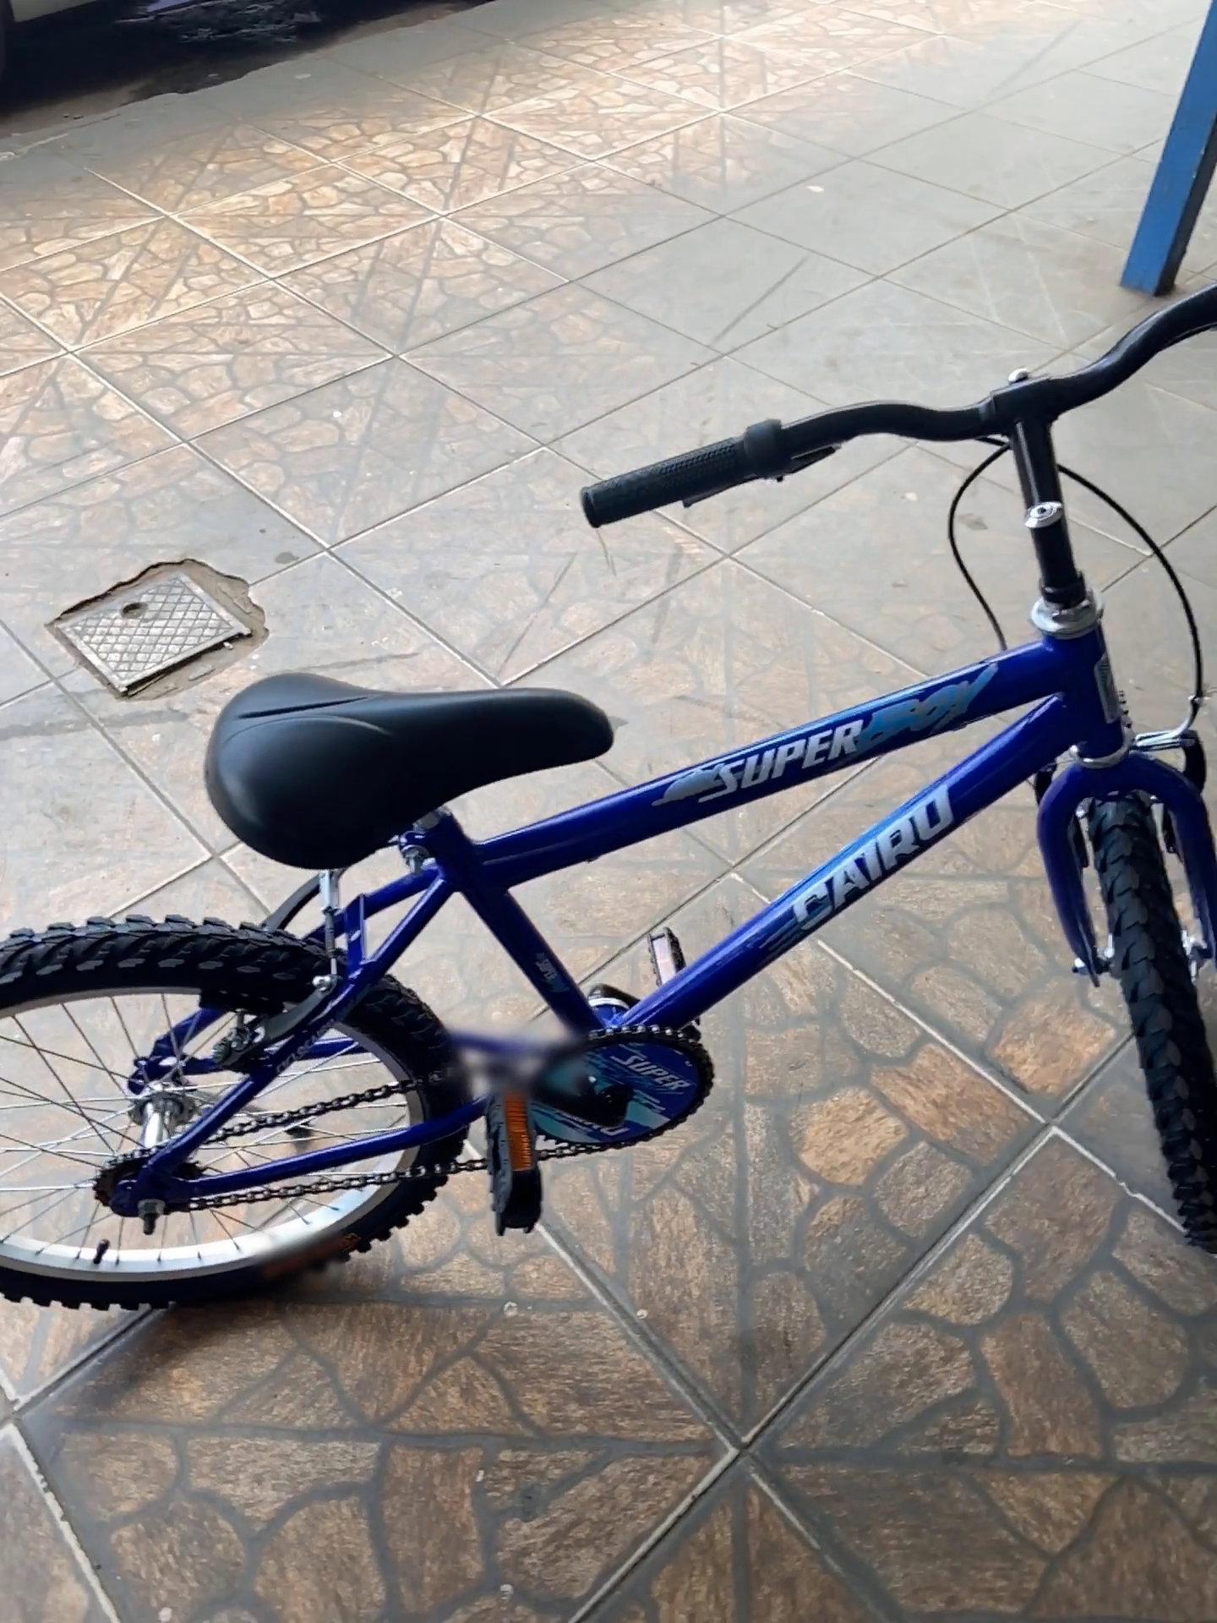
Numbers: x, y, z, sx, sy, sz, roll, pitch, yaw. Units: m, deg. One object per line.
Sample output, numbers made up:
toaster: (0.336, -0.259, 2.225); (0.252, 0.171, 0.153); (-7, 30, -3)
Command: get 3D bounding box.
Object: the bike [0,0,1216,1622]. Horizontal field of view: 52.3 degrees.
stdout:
bike: (-0.063, 0.017, 0.889); (1.182, 0.950, 0.546); (-16, 51, -11)
